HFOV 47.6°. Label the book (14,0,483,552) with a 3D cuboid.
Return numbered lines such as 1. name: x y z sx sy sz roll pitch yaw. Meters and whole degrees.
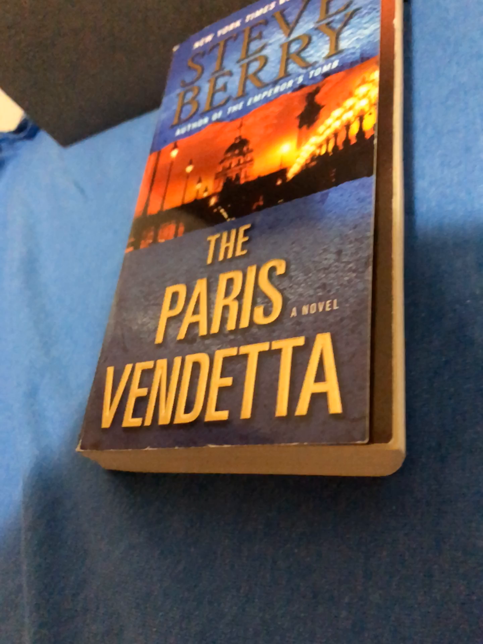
1. book: 0.015 -0.039 0.191 0.120 0.050 0.200 -4 61 29
